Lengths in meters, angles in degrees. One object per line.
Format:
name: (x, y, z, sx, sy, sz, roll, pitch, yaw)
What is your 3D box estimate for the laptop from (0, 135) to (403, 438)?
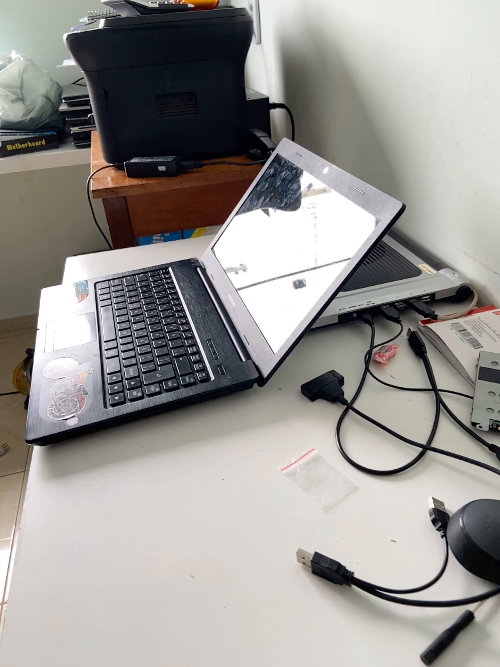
laptop: (-0.083, -0.097, 0.629, 0.393, 0.162, 0.336, -13, 33, -11)
